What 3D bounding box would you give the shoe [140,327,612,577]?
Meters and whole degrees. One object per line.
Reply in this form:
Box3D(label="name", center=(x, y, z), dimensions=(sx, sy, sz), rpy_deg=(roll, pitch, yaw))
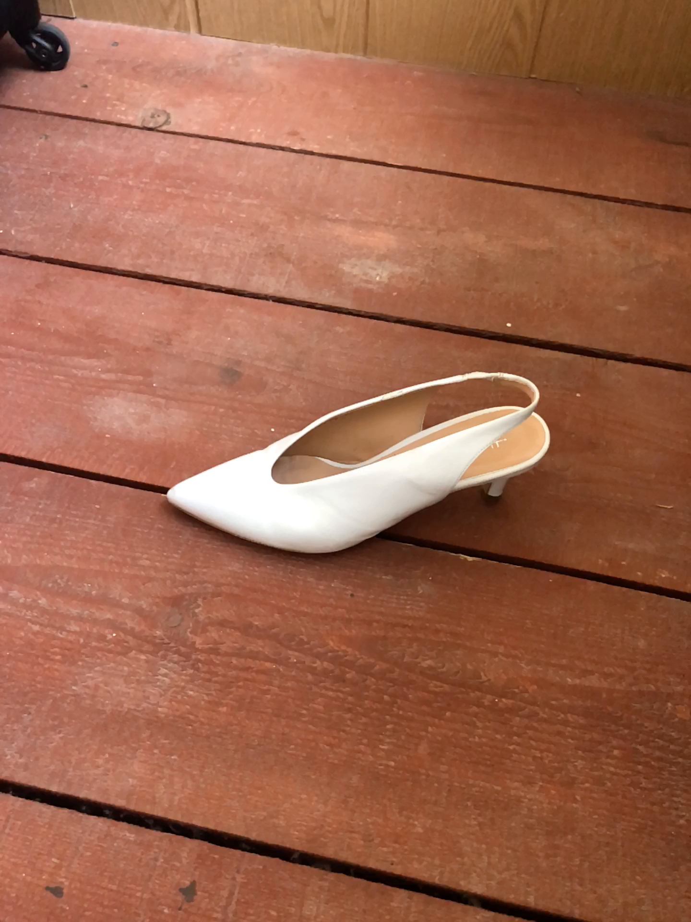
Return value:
Box3D(label="shoe", center=(0.012, -0.006, 0.447), dimensions=(0.240, 0.080, 0.100), rpy_deg=(-4, 56, -3))
